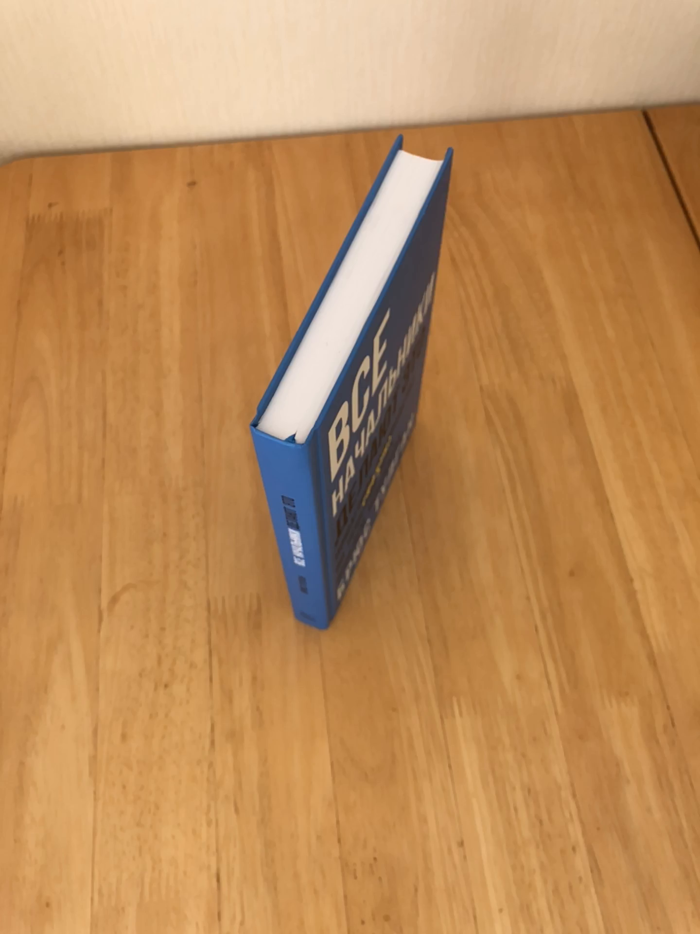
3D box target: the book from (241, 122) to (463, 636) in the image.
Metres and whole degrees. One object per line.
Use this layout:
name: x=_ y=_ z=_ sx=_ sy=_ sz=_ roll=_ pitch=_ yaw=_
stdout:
book: x=0.005 y=-0.022 z=0.367 sx=0.025 sy=0.208 sz=0.150 roll=19 pitch=64 yaw=10
